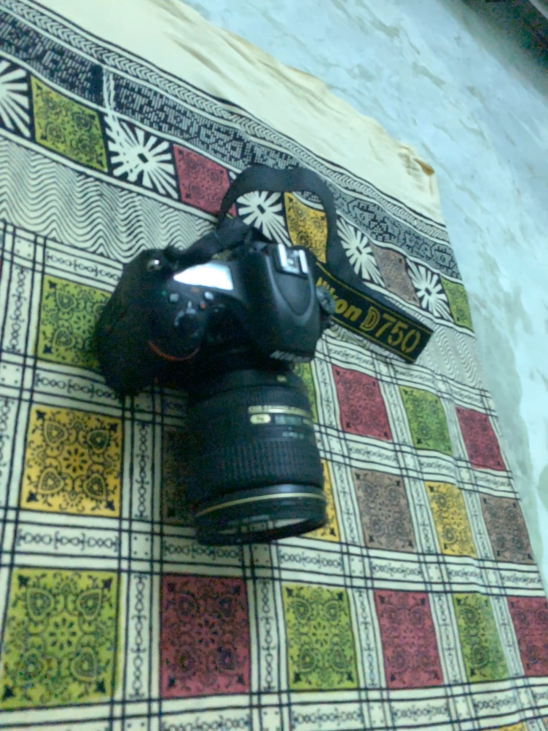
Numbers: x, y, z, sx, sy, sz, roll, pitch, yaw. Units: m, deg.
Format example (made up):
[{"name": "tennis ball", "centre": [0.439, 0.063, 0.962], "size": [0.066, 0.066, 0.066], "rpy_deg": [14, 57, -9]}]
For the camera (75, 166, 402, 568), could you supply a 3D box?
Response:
[{"name": "camera", "centre": [-0.032, 0.007, 0.334], "size": [0.141, 0.100, 0.190], "rpy_deg": [8, 59, -34]}]
